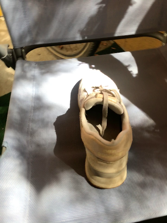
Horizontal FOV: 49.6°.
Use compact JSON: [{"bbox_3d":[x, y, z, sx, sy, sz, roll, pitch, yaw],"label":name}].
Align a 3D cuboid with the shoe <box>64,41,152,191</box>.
[{"bbox_3d":[0.036,0.001,0.369,0.124,0.104,0.288,-1,62,2],"label":"shoe"}]
